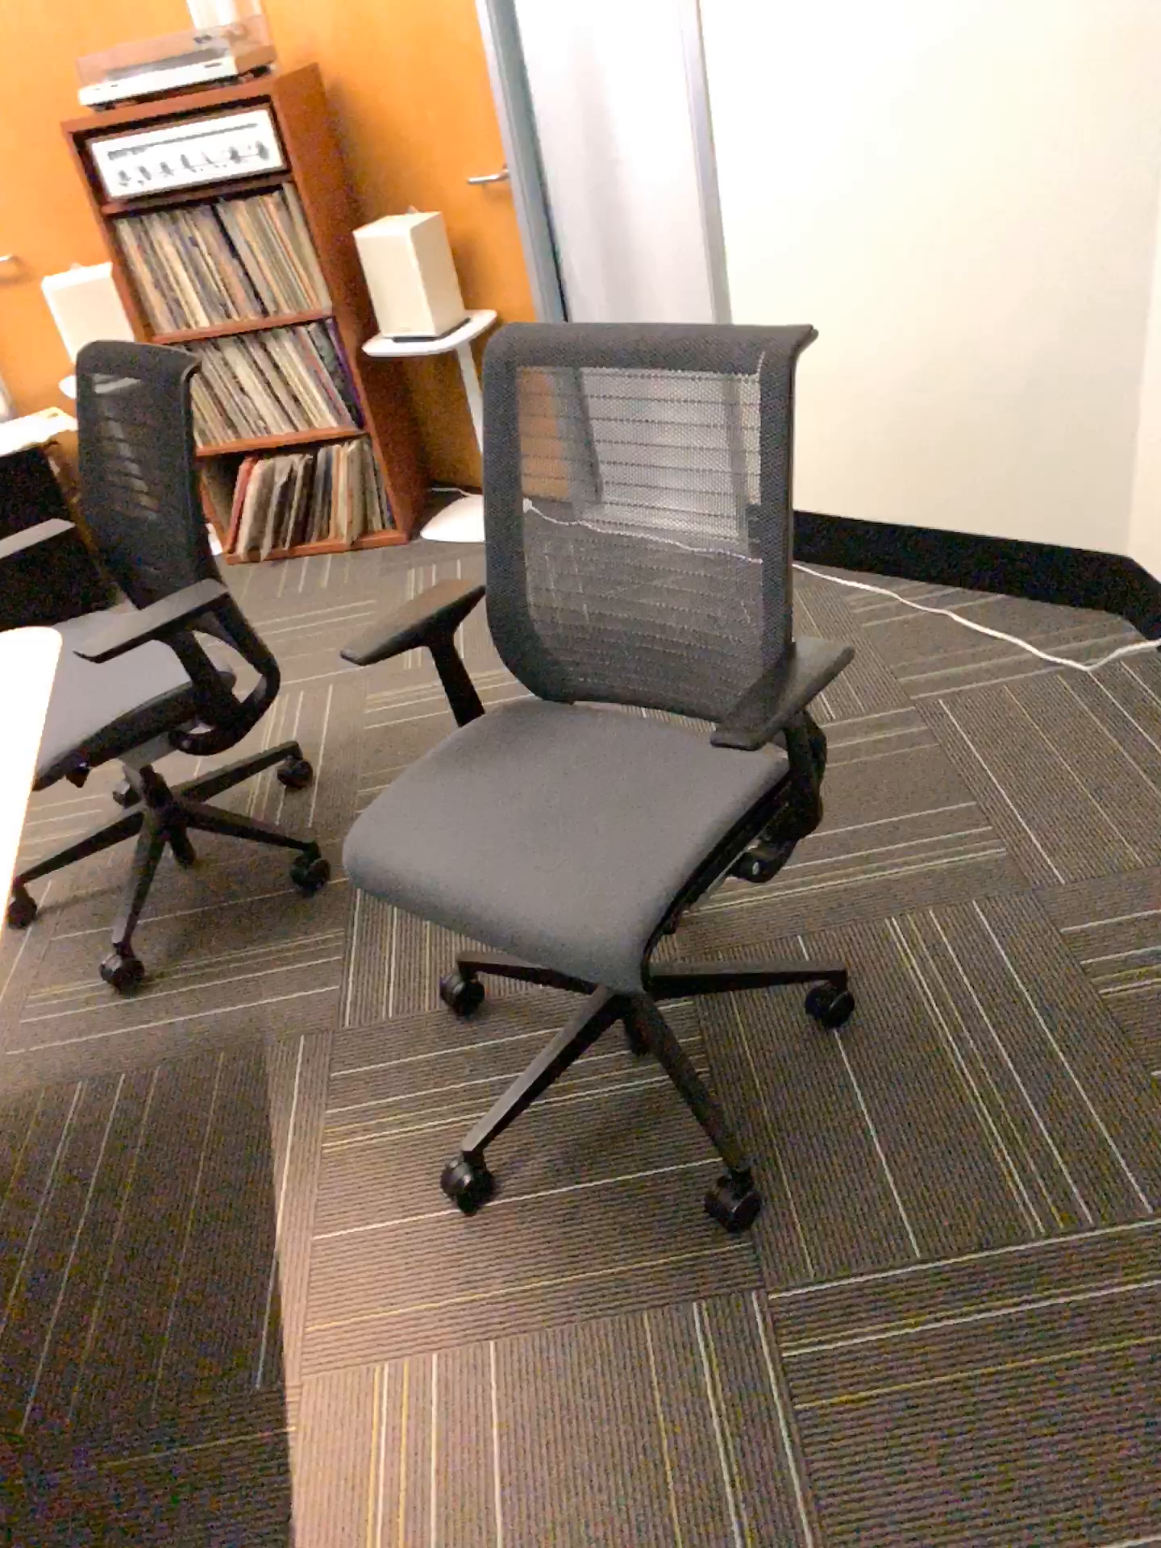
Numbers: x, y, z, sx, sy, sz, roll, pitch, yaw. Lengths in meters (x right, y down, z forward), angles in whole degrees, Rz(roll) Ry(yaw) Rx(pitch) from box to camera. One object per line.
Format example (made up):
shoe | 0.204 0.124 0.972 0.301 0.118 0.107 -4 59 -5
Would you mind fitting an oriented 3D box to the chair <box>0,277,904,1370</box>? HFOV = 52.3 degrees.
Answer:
chair | -0.080 0.016 1.659 0.793 1.113 0.803 12 42 31
